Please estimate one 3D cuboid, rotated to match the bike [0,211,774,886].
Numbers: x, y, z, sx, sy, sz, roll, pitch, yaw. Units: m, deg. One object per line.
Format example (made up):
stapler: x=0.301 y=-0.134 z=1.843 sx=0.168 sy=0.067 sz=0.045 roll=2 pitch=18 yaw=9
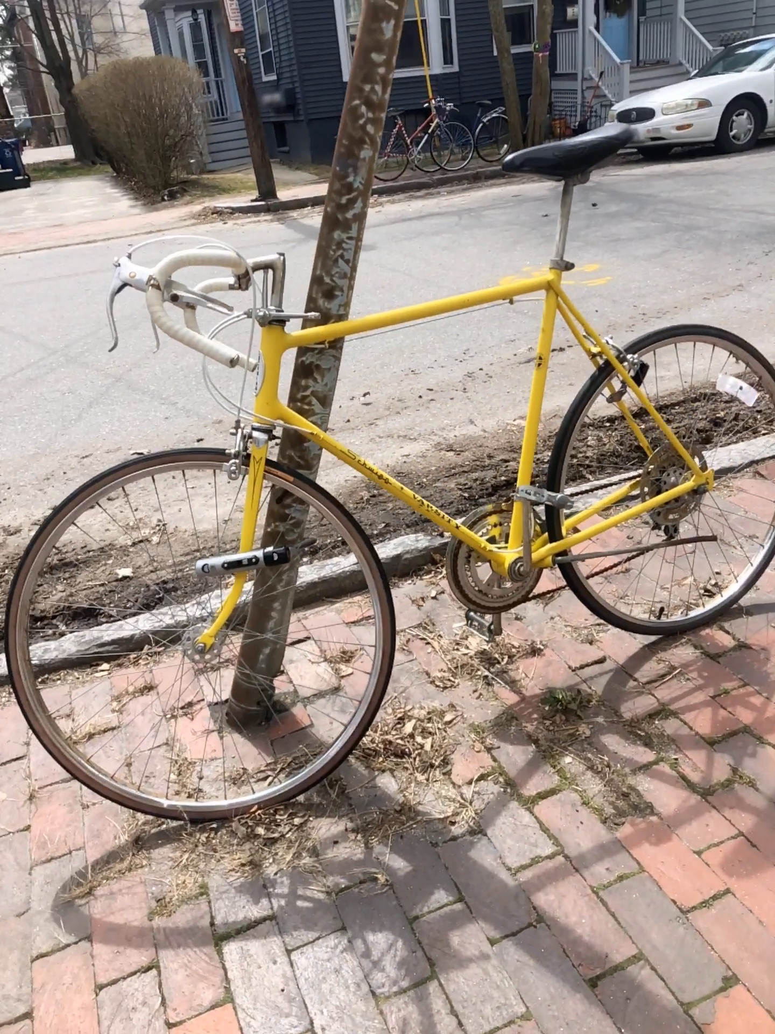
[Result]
bike: x=0.091 y=-0.031 z=1.827 sx=1.688 sy=0.804 sz=0.541 roll=-18 pitch=28 yaw=-14
